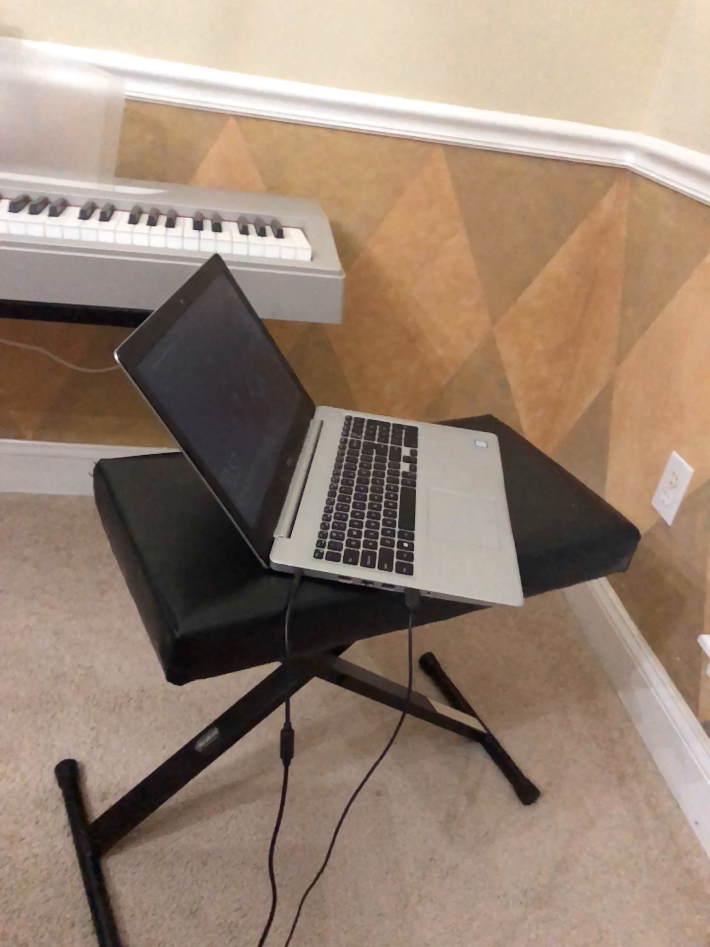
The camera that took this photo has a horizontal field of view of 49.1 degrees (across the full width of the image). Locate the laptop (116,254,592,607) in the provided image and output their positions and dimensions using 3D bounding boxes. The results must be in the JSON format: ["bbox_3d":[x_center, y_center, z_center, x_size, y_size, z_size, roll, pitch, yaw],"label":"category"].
[{"bbox_3d":[0.001,-0.075,0.868,0.408,0.183,0.377,10,29,0],"label":"laptop"}]
